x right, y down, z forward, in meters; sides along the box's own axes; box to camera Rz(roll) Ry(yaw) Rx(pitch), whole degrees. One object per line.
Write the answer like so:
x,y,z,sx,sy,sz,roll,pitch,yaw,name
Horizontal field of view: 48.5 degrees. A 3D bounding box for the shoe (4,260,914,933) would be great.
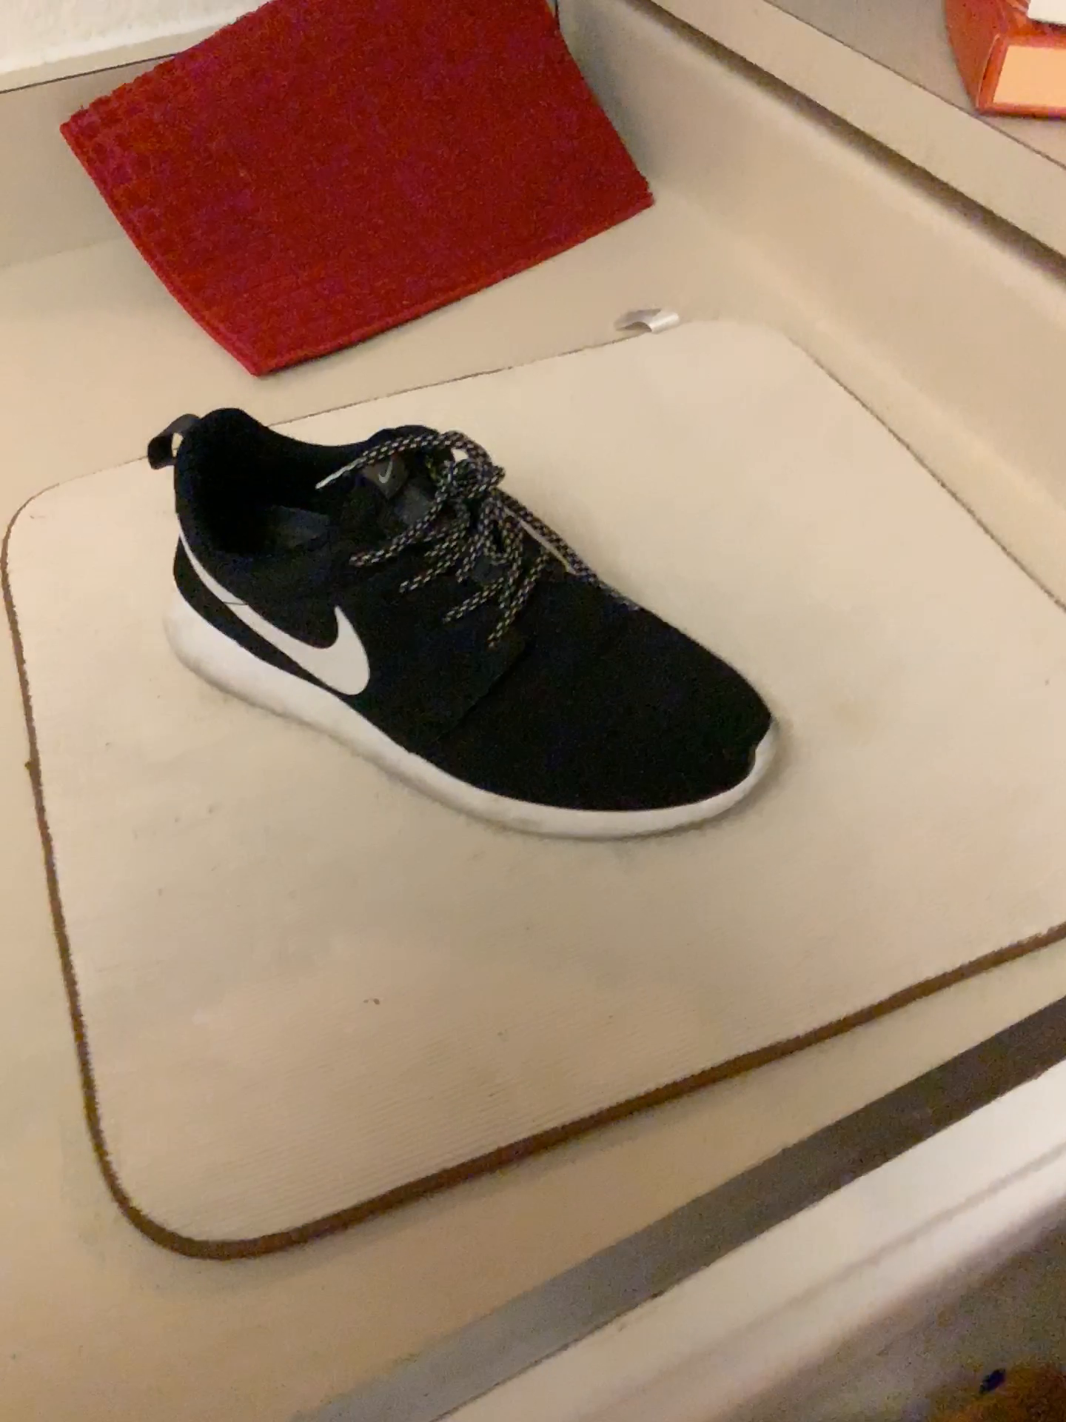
-0.026,-0.053,0.446,0.280,0.120,0.130,20,54,19,shoe
